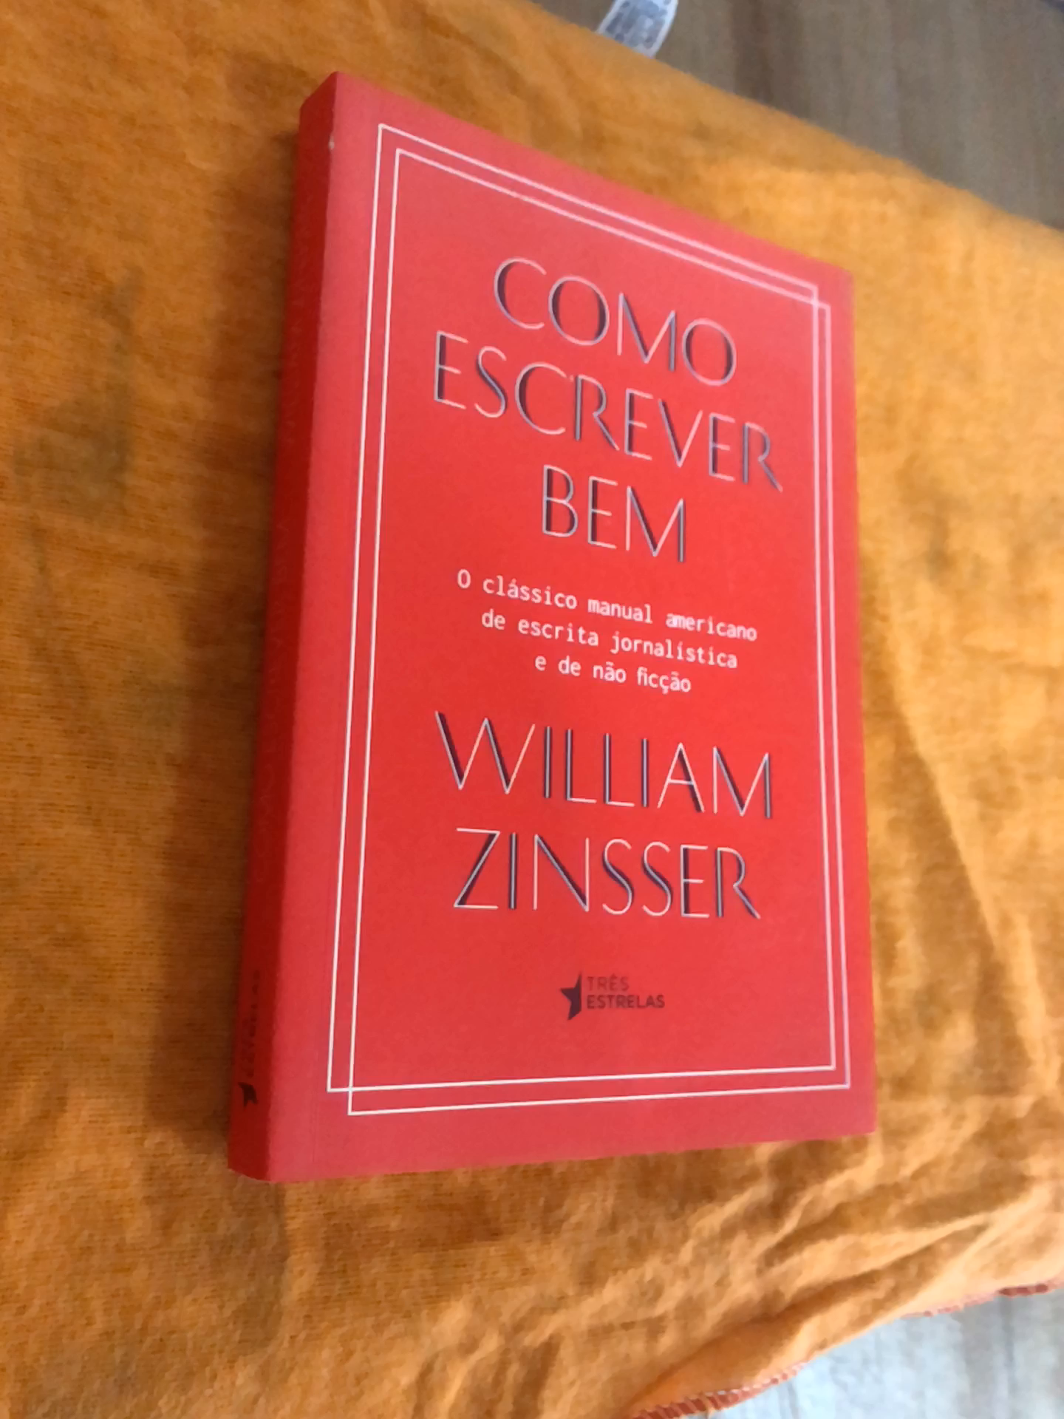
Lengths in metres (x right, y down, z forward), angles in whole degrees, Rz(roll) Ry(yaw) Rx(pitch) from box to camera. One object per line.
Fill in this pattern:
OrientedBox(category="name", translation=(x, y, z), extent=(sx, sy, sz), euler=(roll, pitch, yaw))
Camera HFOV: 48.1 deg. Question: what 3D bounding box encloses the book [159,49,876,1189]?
OrientedBox(category="book", translation=(0.007, -0.015, 0.240), extent=(0.141, 0.020, 0.195), euler=(7, 78, -28))
